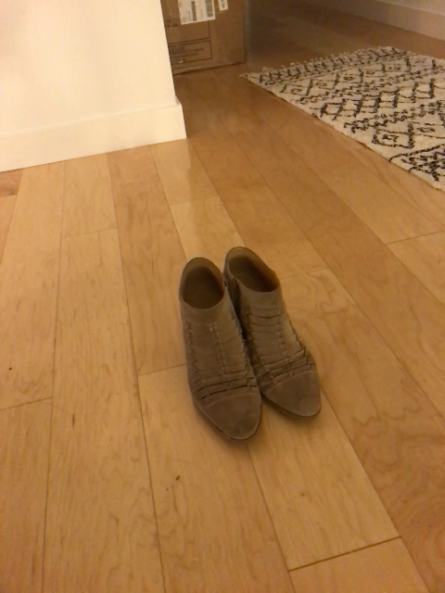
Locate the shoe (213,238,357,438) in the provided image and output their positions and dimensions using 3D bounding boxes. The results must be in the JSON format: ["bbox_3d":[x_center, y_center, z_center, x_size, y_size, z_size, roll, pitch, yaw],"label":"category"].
[{"bbox_3d":[0.077,0.044,0.690,0.100,0.119,0.272,-14,38,-9],"label":"shoe"}]

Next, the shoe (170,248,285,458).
[{"bbox_3d":[0.000,0.065,0.686,0.110,0.129,0.272,-10,38,-3],"label":"shoe"}]
